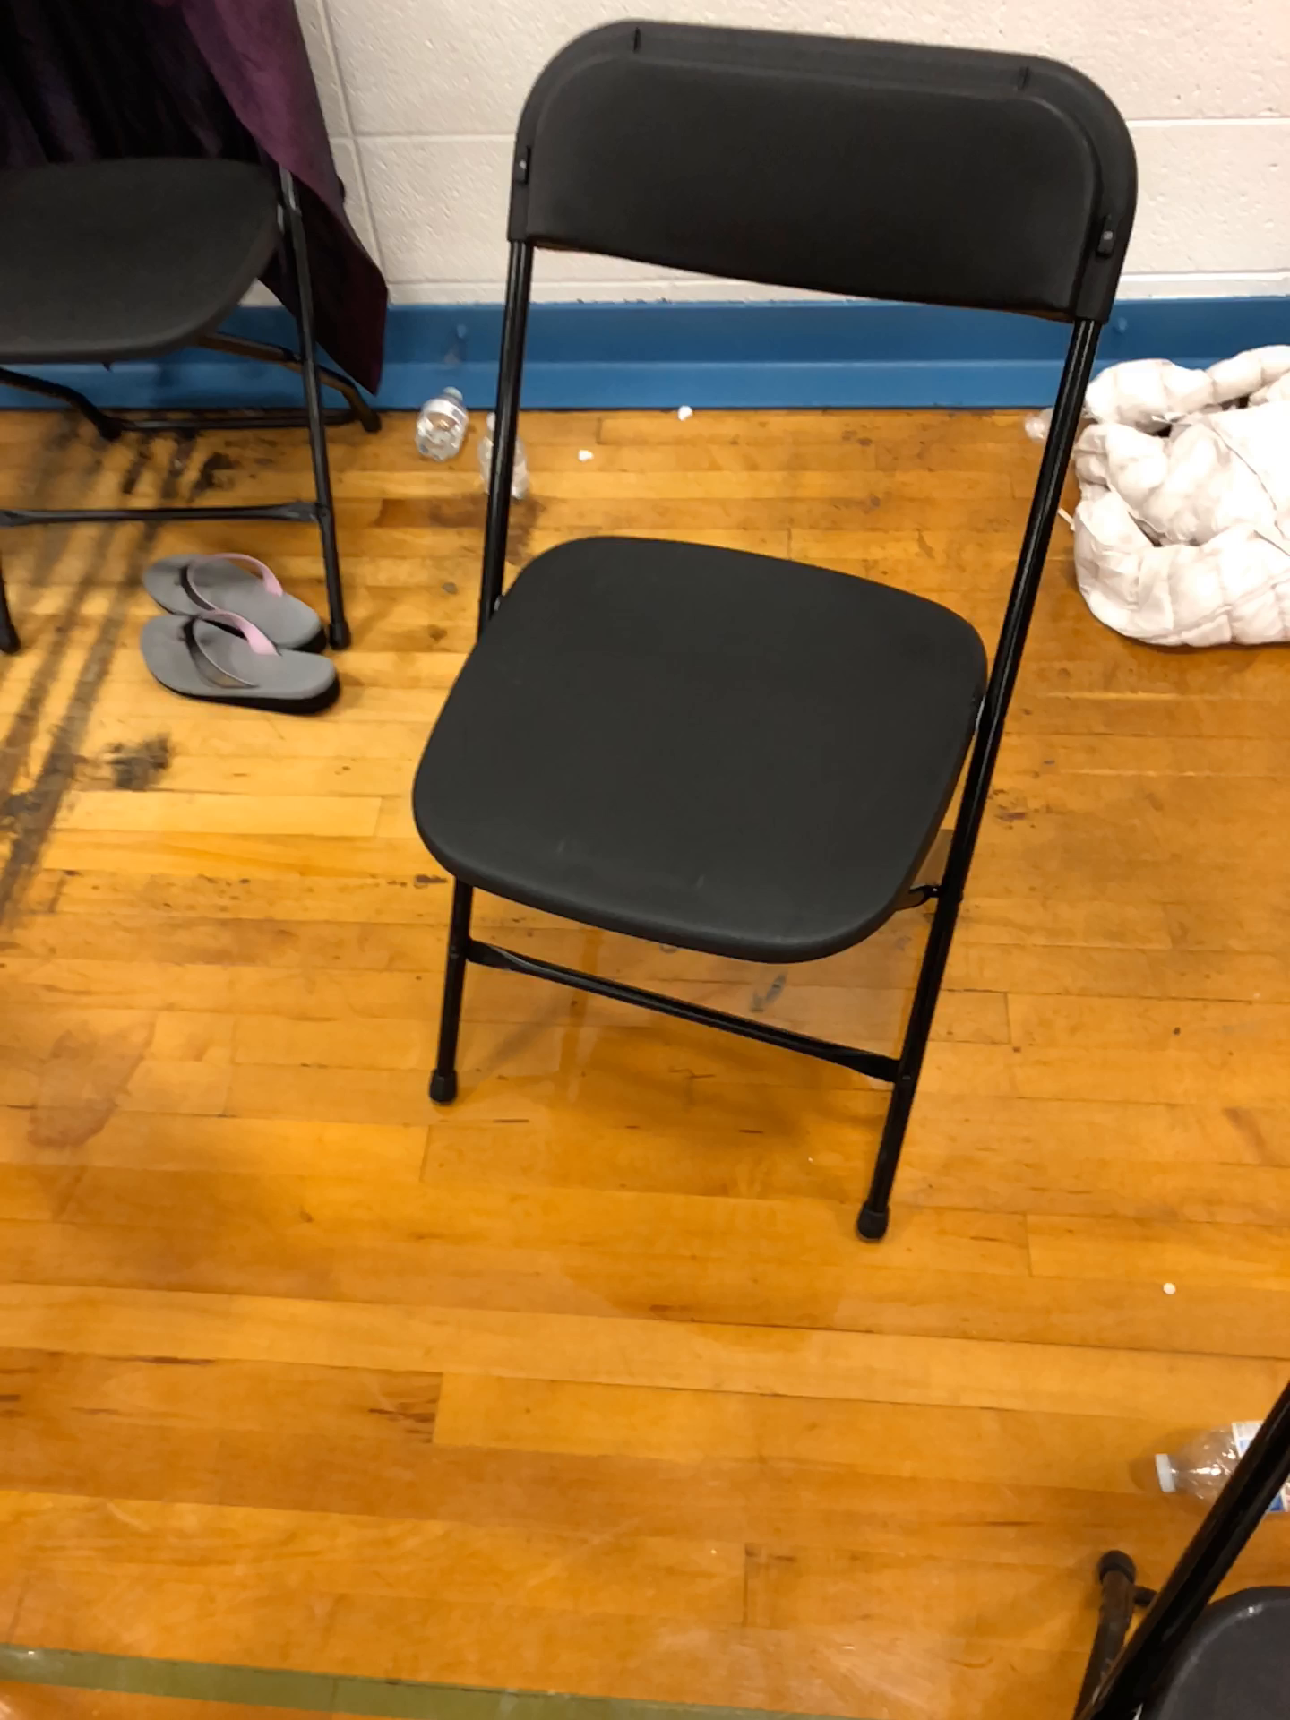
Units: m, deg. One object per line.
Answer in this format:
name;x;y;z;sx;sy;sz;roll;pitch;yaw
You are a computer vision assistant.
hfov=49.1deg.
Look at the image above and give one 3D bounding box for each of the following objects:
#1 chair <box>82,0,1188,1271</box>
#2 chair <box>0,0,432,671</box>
chair;0.052;-0.139;1.074;0.471;0.720;0.525;14;54;15
chair;-0.585;-0.686;1.545;0.481;0.790;0.546;1;52;5
